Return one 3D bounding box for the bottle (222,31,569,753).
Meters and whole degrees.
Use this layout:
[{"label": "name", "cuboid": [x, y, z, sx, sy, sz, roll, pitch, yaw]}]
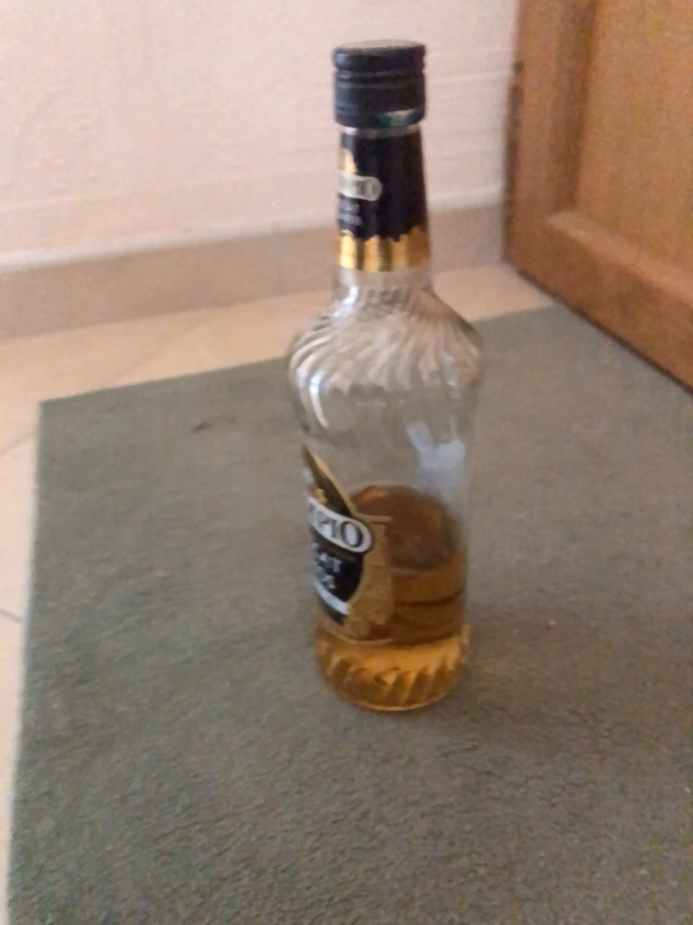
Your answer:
[{"label": "bottle", "cuboid": [0.017, -0.014, 0.332, 0.090, 0.288, 0.090, -2, 34, 2]}]
